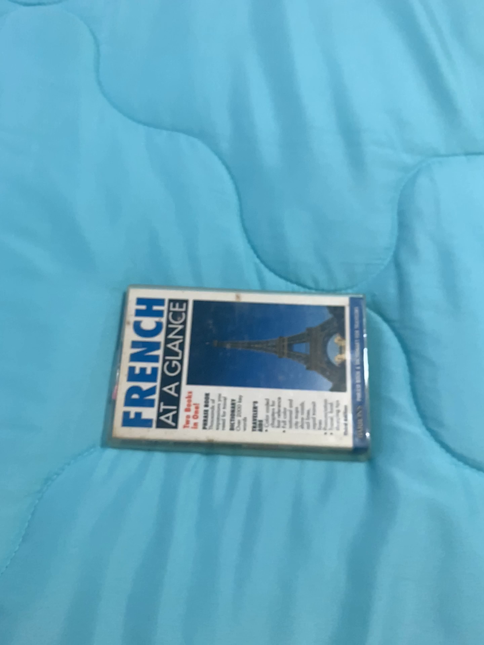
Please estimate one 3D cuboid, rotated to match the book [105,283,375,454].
[{"bbox_3d":[0.000,0.027,0.309,0.154,0.017,0.099,2,72,0],"label":"book"}]
